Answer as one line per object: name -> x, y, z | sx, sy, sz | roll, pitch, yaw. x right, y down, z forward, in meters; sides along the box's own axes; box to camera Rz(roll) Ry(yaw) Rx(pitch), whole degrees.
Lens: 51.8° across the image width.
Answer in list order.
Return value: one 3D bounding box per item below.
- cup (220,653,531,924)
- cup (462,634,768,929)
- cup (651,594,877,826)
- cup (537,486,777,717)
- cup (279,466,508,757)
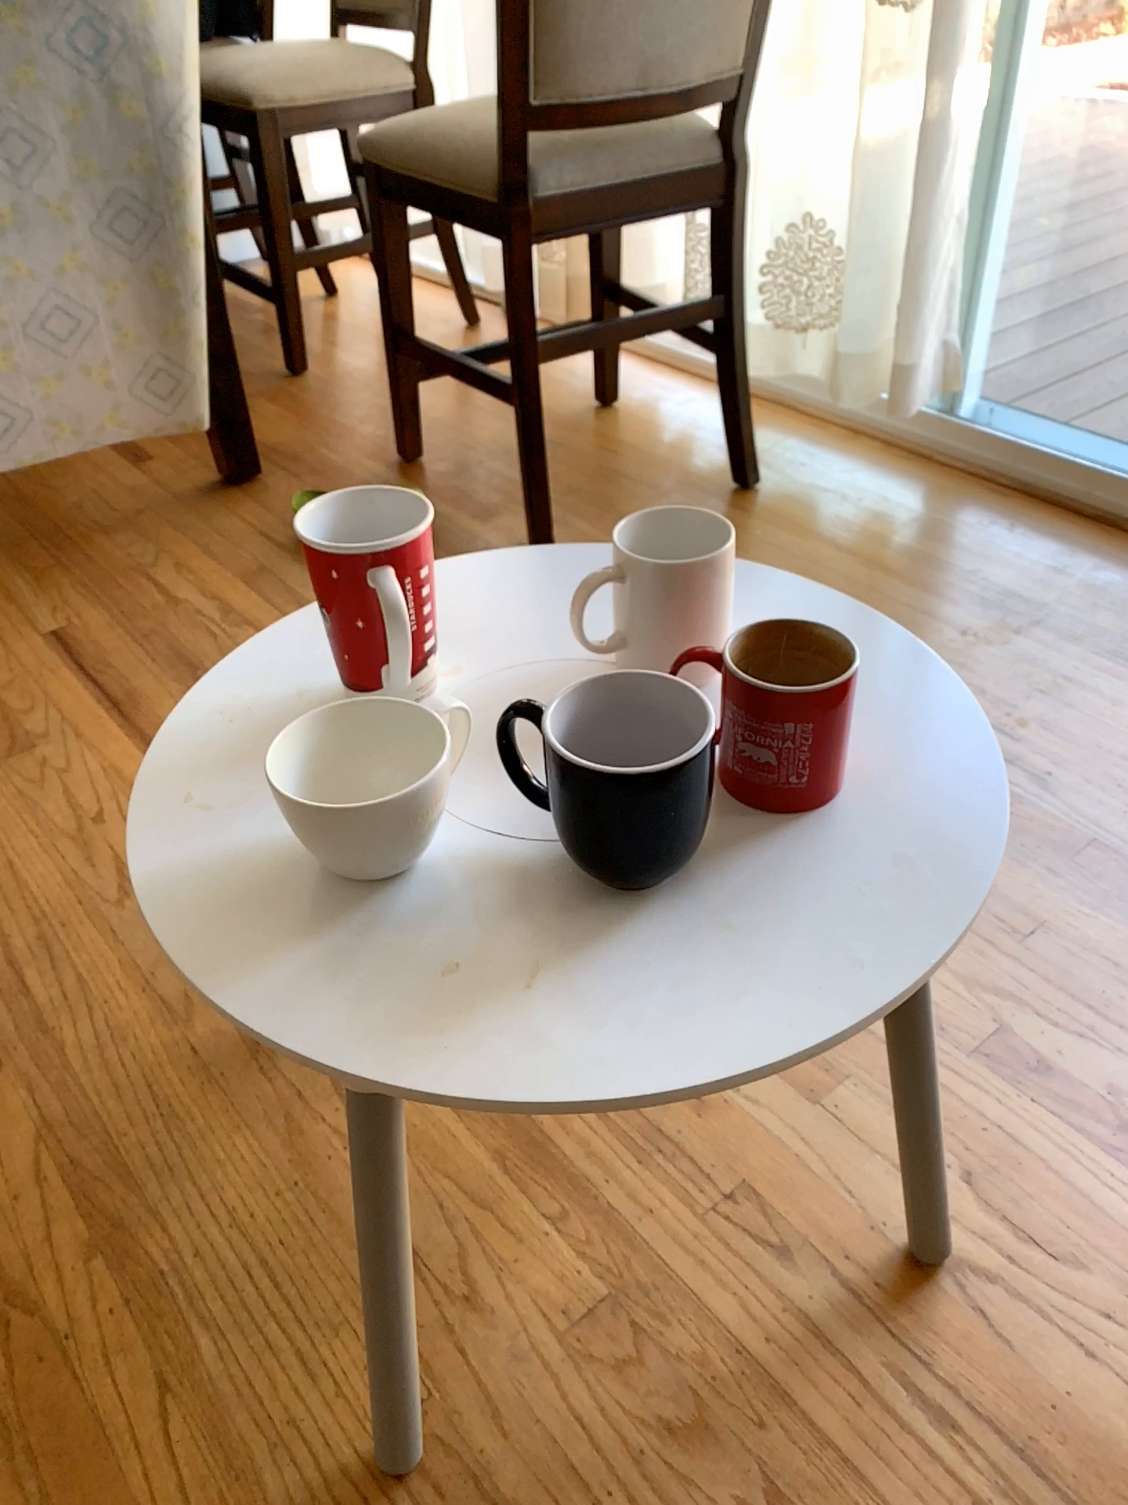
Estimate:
cup -> -0.105, 0.015, 0.668 | 0.110, 0.060, 0.130 | 30, 48, 35
cup -> 0.028, 0.011, 0.646 | 0.131, 0.080, 0.100 | 29, 48, 34
cup -> 0.121, -0.027, 0.708 | 0.120, 0.099, 0.080 | 8, 39, 13
cup -> 0.061, -0.105, 0.784 | 0.120, 0.090, 0.101 | -22, 42, -22
cup -> -0.114, -0.098, 0.787 | 0.100, 0.129, 0.131 | -19, 41, -19
